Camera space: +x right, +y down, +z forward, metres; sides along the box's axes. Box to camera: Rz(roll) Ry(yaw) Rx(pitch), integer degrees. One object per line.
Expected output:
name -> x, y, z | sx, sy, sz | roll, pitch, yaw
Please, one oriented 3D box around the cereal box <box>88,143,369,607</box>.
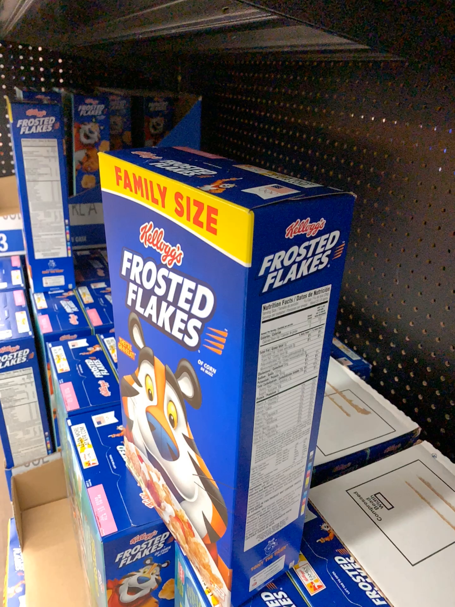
cereal box -> -0.022, 0.055, 0.375 | 0.080, 0.318, 0.211 | -15, 31, -30
